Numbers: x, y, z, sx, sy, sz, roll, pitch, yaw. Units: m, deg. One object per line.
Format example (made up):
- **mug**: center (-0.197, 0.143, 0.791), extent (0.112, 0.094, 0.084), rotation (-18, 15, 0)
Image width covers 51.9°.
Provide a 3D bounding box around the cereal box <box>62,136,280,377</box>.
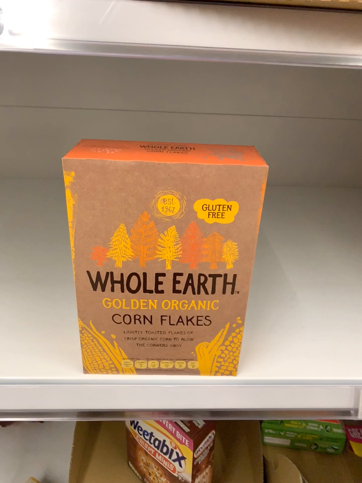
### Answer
- **cereal box**: center (-0.015, 0.025, 0.441), extent (0.200, 0.268, 0.091), rotation (2, 27, -2)
